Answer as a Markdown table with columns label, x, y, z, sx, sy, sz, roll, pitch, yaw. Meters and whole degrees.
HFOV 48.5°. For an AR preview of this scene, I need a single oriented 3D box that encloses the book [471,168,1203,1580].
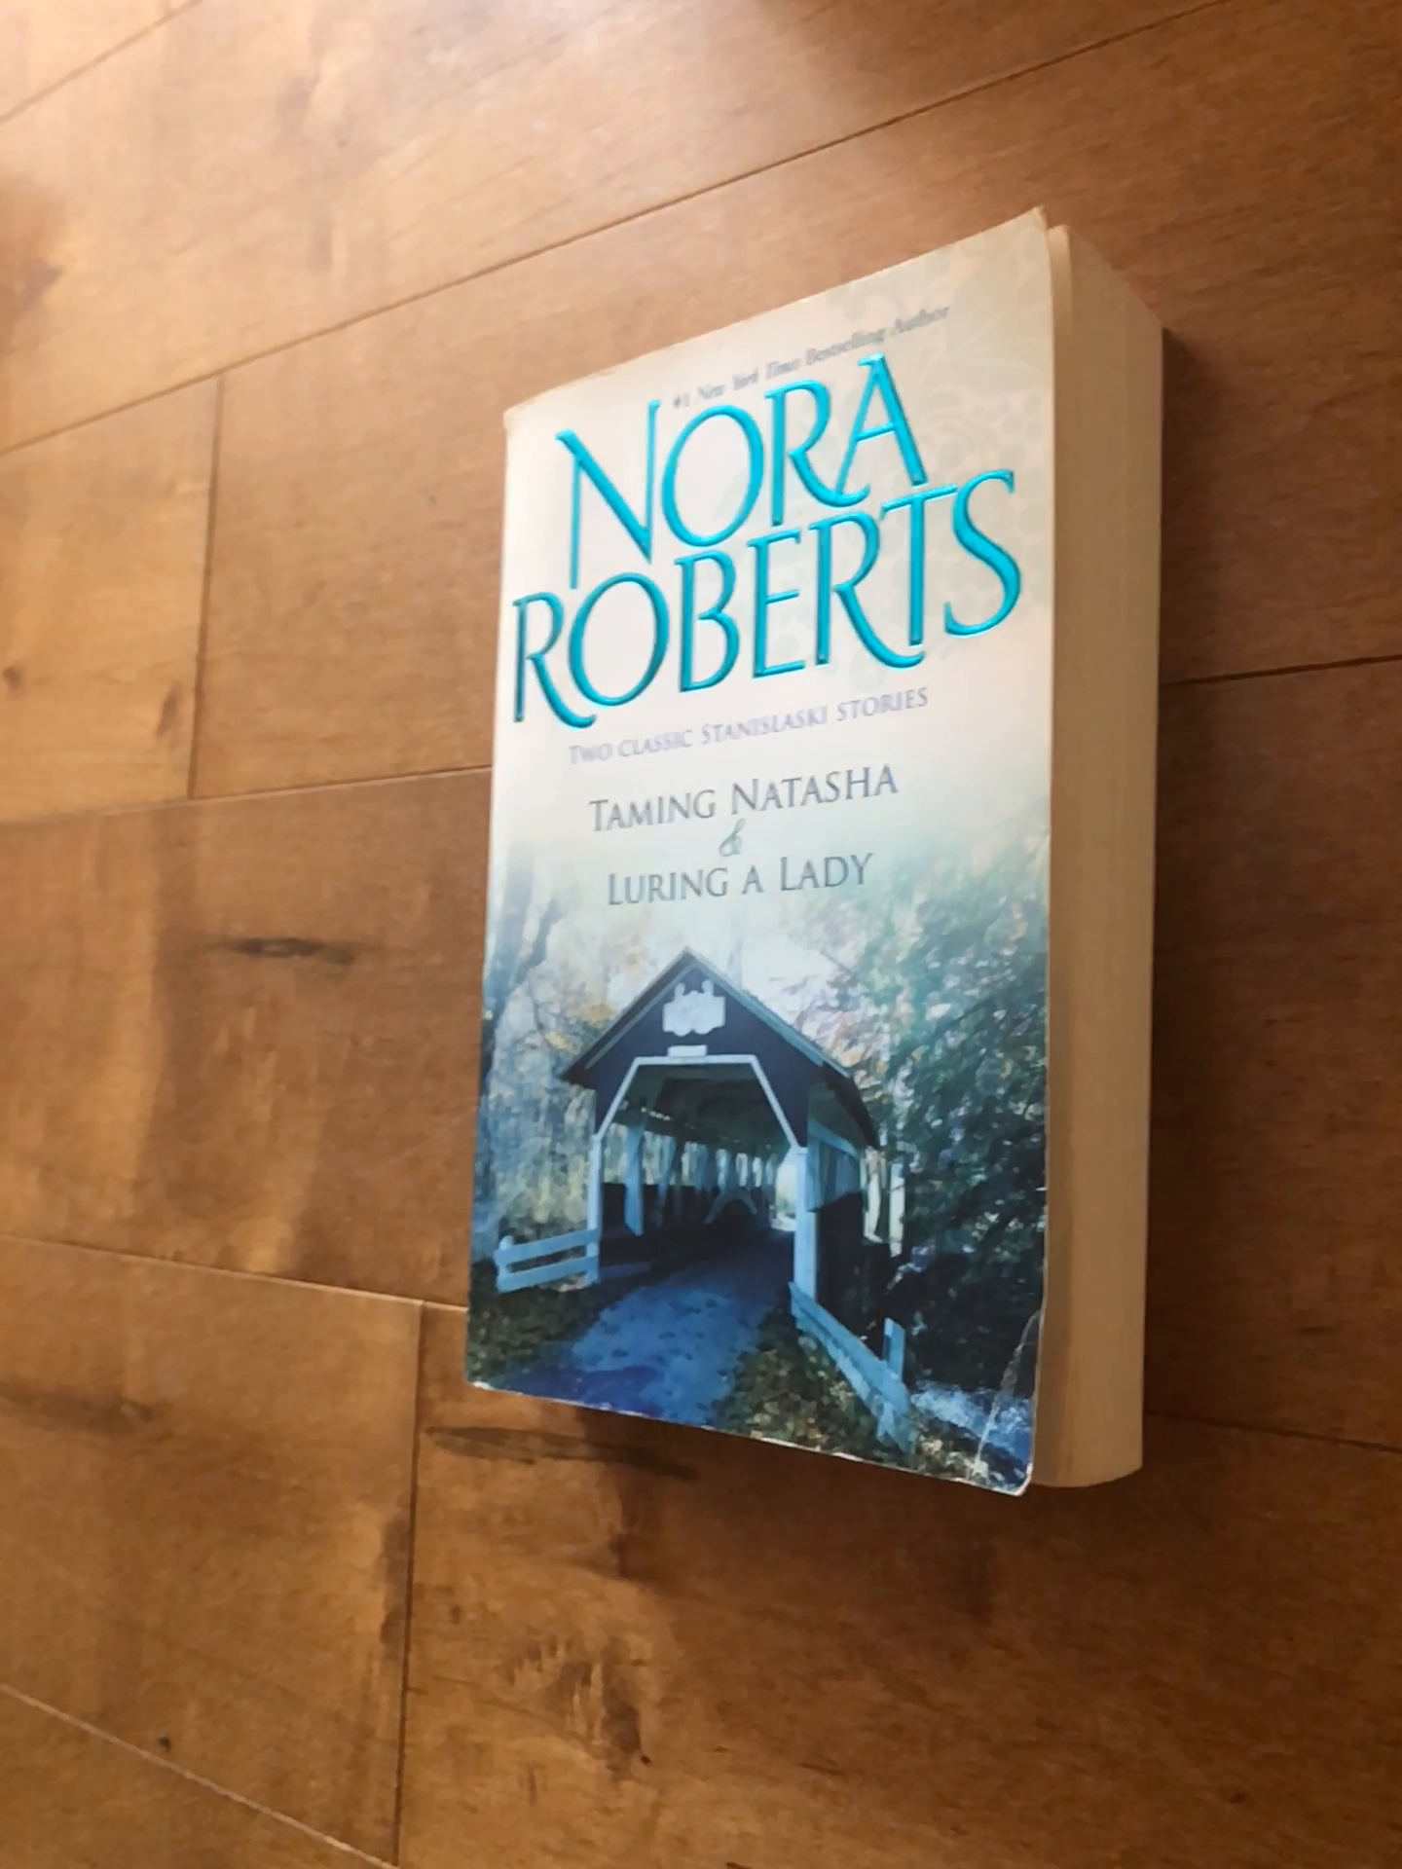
| label | x | y | z | sx | sy | sz | roll | pitch | yaw |
| --- | --- | --- | --- | --- | --- | --- | --- | --- | --- |
| book | 0.022 | -0.010 | 0.294 | 0.131 | 0.040 | 0.220 | -3 | 82 | 36 |
